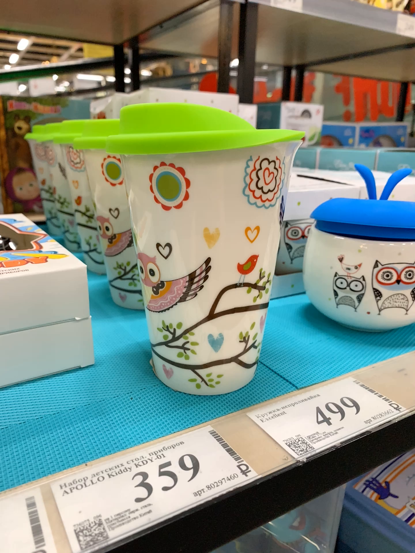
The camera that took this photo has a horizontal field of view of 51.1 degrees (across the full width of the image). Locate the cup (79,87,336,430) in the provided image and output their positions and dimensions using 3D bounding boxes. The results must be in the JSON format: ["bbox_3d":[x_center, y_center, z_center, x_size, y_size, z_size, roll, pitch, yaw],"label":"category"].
[{"bbox_3d":[-0.004,-0.017,0.224,0.091,0.136,0.084,1,16,0],"label":"cup"}]
